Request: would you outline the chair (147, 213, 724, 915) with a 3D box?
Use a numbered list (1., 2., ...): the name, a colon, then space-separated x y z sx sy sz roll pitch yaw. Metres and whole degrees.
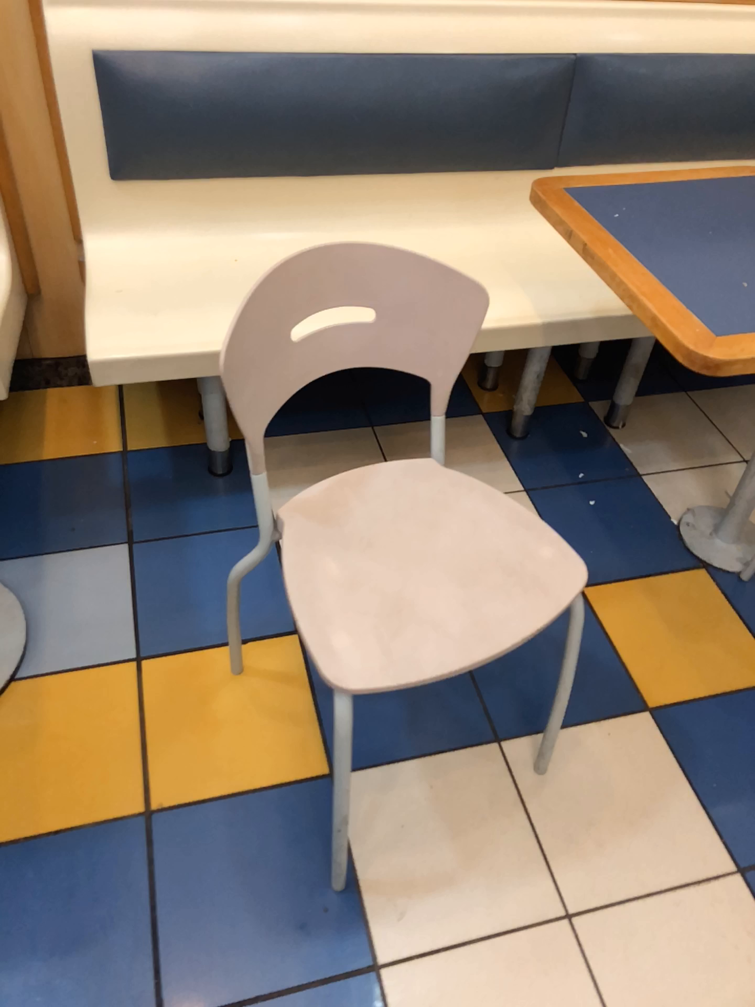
1. chair: 0.017 0.095 1.188 0.441 0.774 0.513 -20 49 -24
